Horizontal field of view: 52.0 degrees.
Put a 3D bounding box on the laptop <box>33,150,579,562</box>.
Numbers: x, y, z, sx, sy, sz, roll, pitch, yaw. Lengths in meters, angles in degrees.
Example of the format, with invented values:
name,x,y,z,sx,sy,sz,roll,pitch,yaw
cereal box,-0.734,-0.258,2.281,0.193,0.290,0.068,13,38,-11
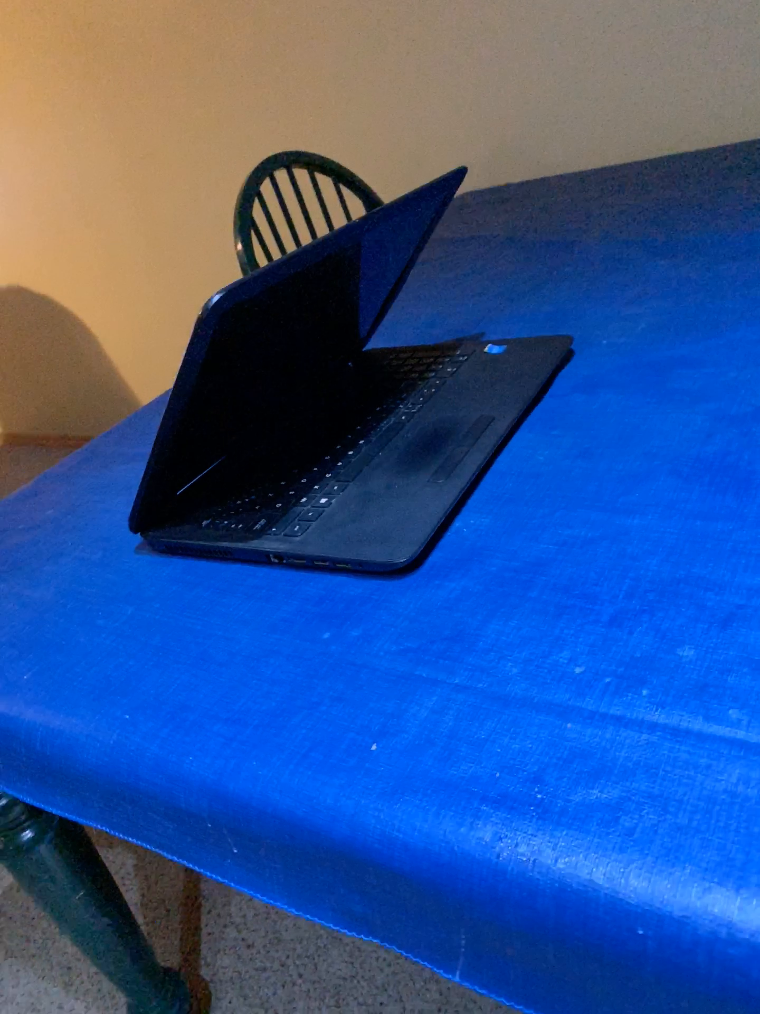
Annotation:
name,x,y,z,sx,sy,sz,roll,pitch,yaw
laptop,-0.025,-0.143,0.643,0.252,0.167,0.373,3,34,32
